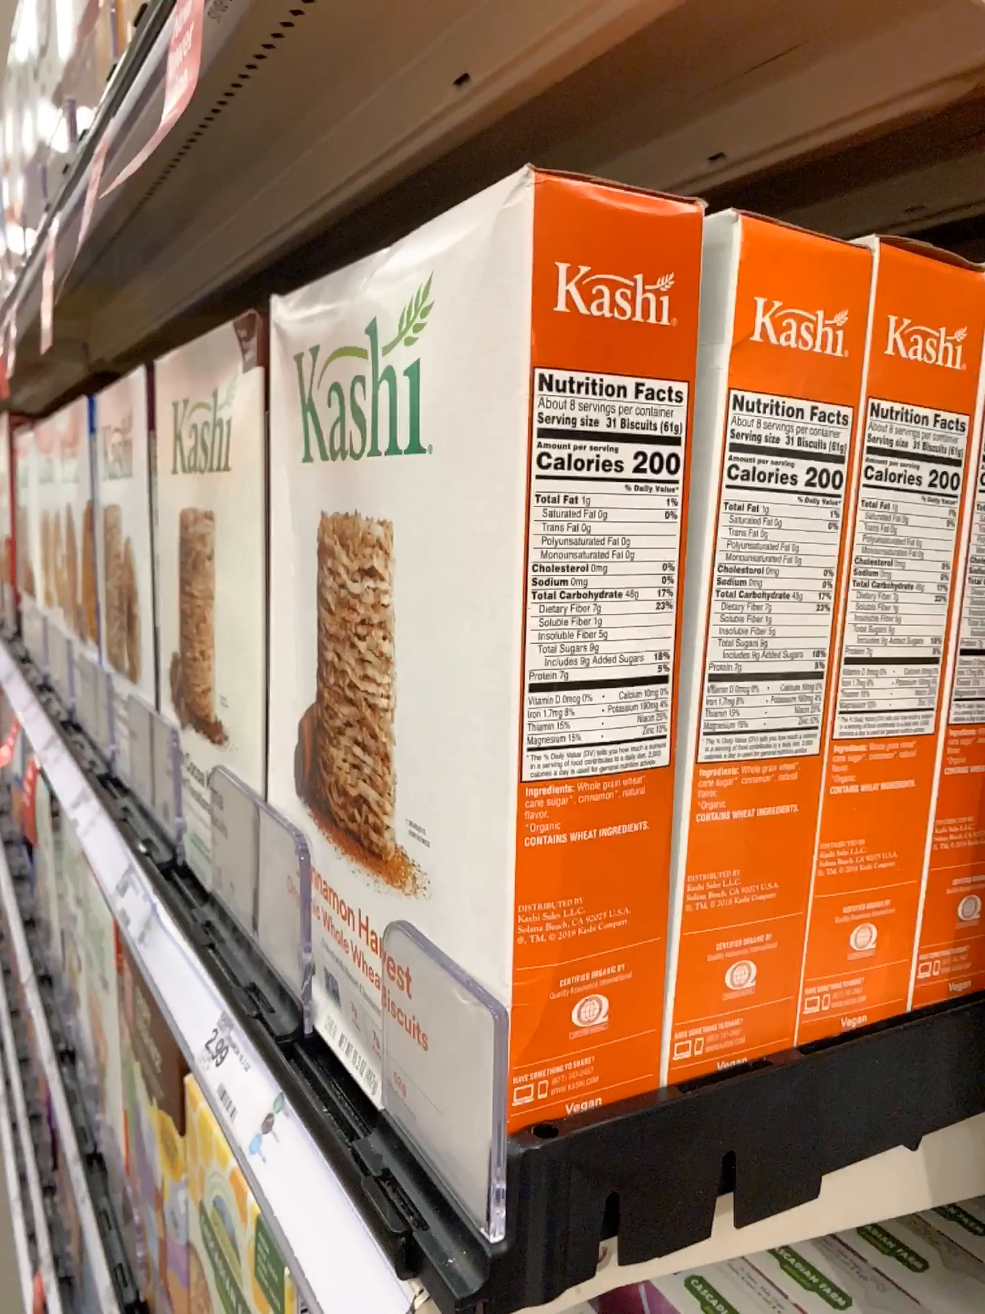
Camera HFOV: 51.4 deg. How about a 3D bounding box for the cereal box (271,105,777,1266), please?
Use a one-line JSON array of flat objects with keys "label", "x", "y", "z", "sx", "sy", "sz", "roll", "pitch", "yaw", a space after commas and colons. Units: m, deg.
[{"label": "cereal box", "x": -0.010, "y": 0.002, "z": 0.343, "sx": 0.070, "sy": 0.280, "sz": 0.190, "roll": -1, "pitch": 8, "yaw": -29}]
